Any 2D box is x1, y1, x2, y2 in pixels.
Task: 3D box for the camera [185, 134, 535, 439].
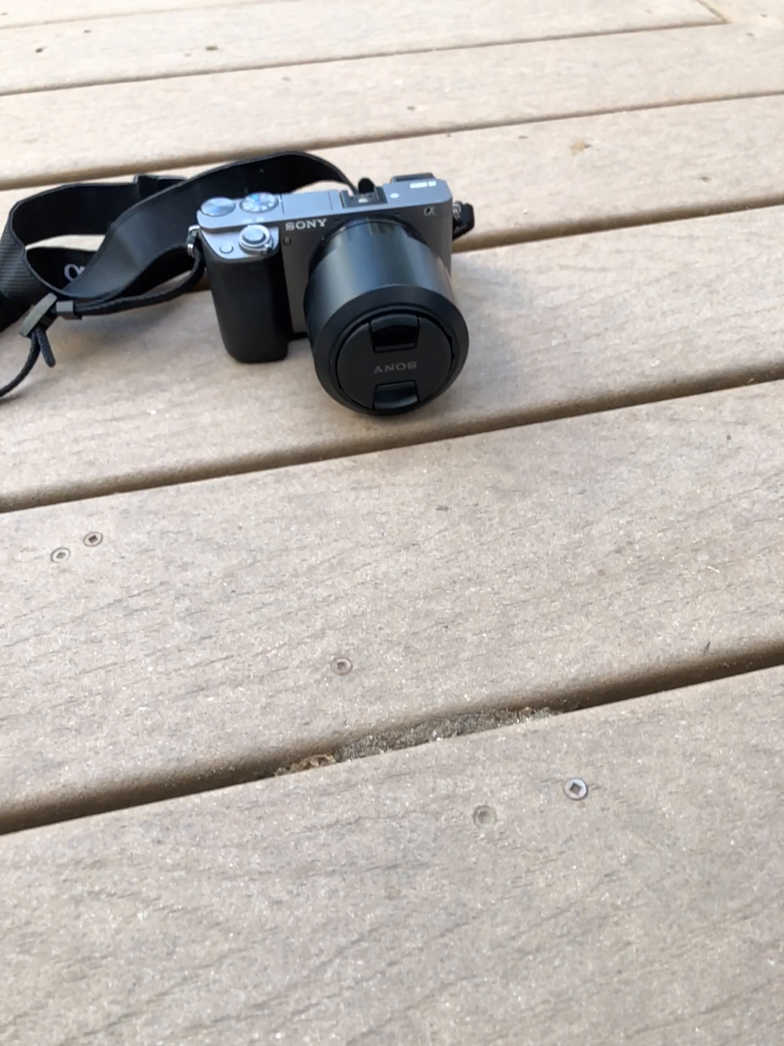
[{"bbox_3d":[-0.019,-0.108,0.385,0.130,0.070,0.111,-8,48,-6],"label":"camera"}]
